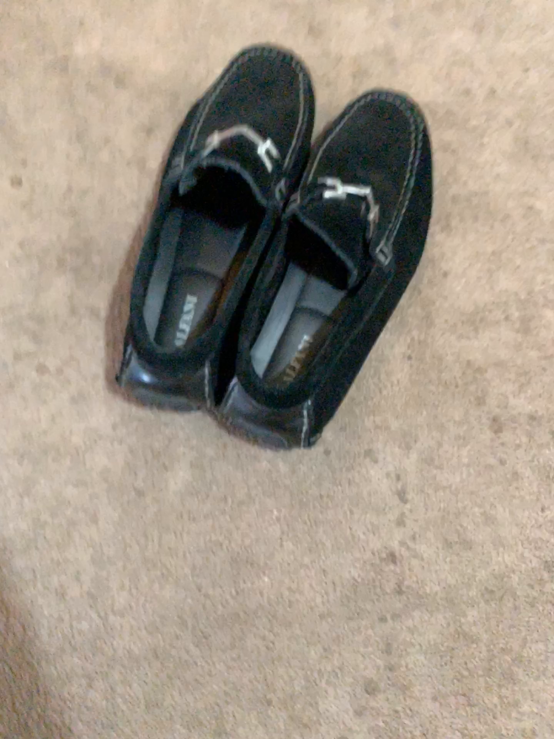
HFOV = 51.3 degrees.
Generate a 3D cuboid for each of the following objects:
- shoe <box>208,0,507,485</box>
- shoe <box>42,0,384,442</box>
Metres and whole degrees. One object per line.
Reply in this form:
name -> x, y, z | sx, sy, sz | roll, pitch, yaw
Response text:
shoe -> 0.055, -0.089, 0.396 | 0.100, 0.100, 0.311 | 20, 74, -1
shoe -> -0.031, -0.120, 0.389 | 0.100, 0.100, 0.311 | 20, 74, -1
